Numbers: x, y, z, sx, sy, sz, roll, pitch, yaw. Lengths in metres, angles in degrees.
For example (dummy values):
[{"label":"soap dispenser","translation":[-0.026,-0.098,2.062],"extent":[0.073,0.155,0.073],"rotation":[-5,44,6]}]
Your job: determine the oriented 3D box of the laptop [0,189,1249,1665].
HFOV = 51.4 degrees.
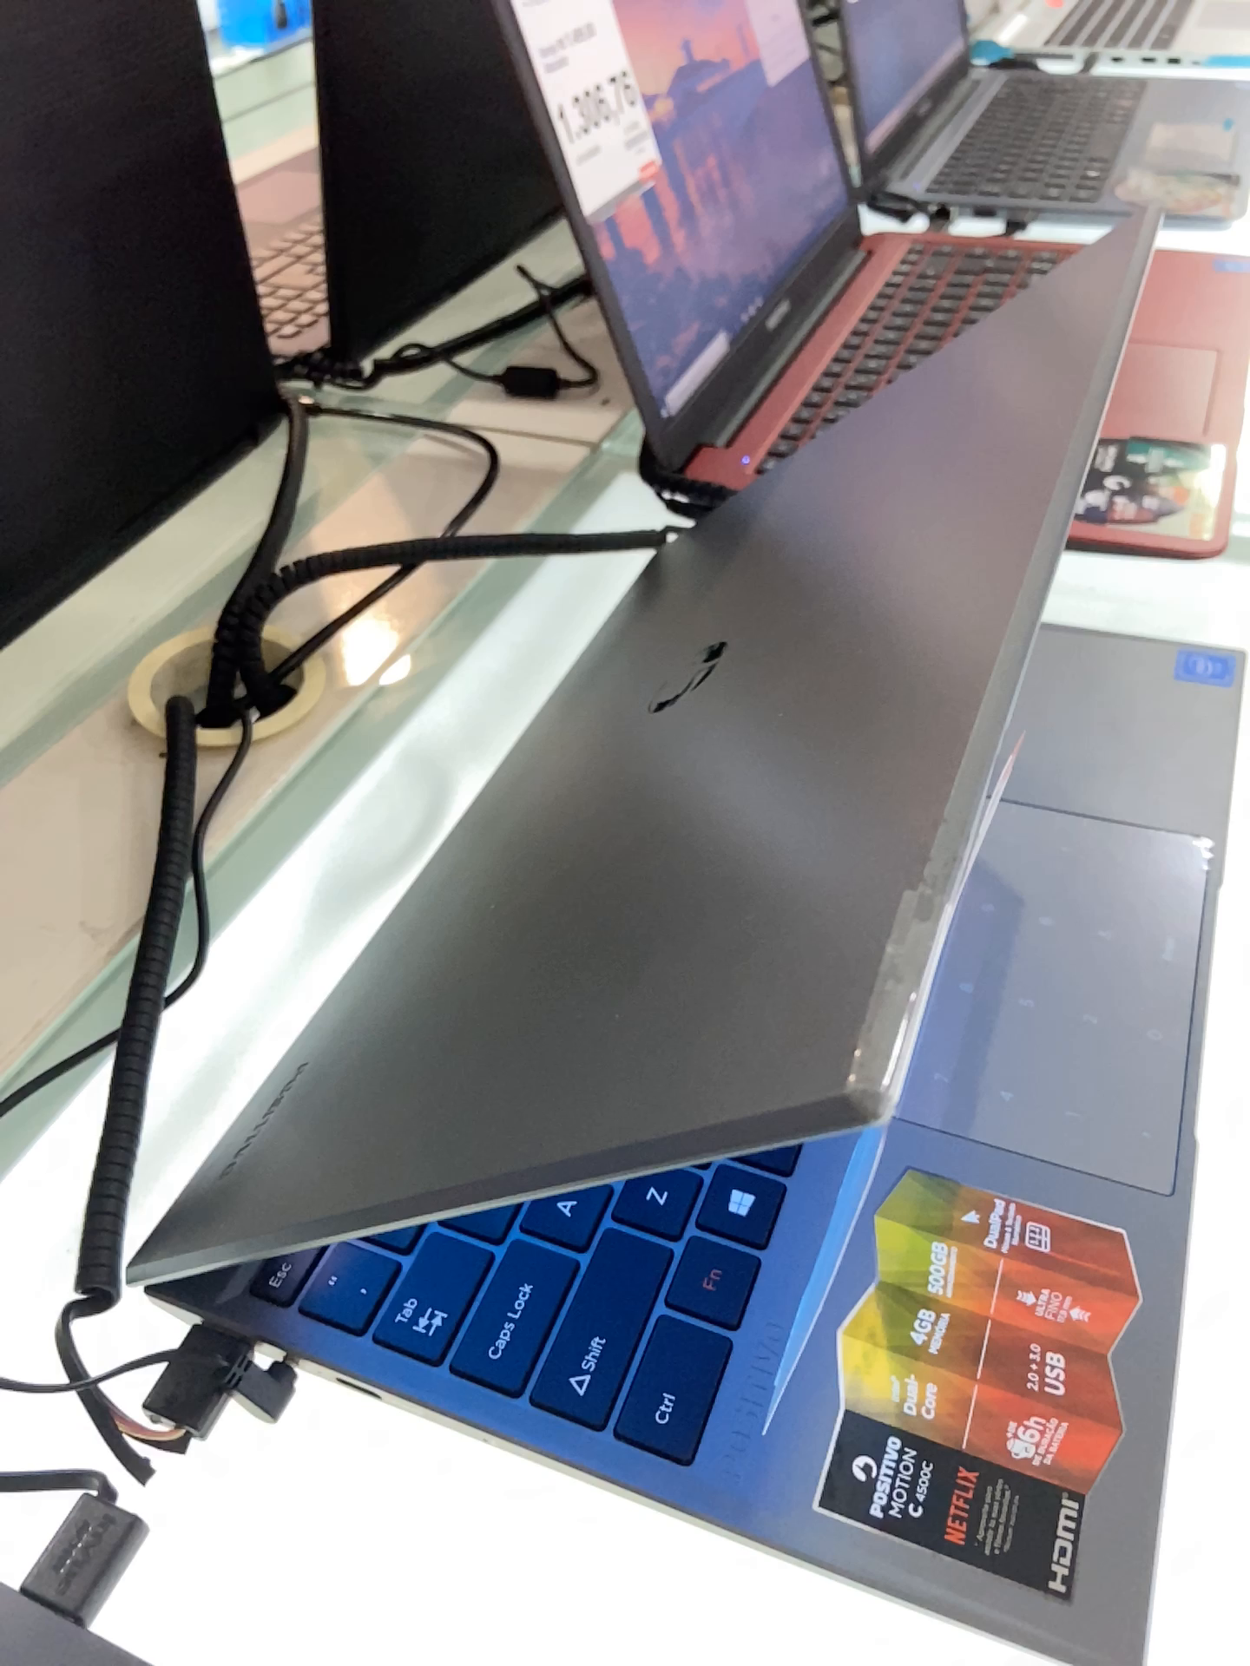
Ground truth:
[{"label":"laptop","translation":[0.047,-0.032,0.322],"extent":[0.210,0.139,0.329],"rotation":[13,44,18]}]
